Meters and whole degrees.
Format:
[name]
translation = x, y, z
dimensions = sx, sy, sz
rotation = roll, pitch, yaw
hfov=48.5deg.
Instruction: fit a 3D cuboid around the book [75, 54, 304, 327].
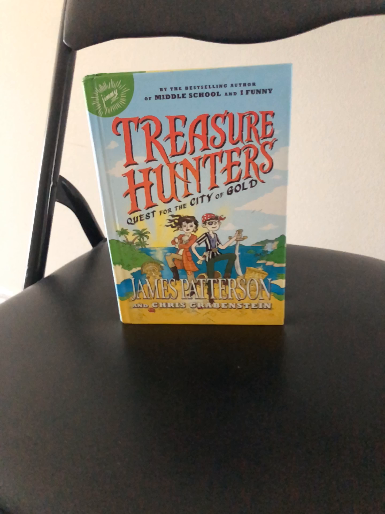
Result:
[book]
translation = 0.007, -0.041, 0.353
dimensions = 0.154, 0.215, 0.040
rotation = -1, 29, 8
